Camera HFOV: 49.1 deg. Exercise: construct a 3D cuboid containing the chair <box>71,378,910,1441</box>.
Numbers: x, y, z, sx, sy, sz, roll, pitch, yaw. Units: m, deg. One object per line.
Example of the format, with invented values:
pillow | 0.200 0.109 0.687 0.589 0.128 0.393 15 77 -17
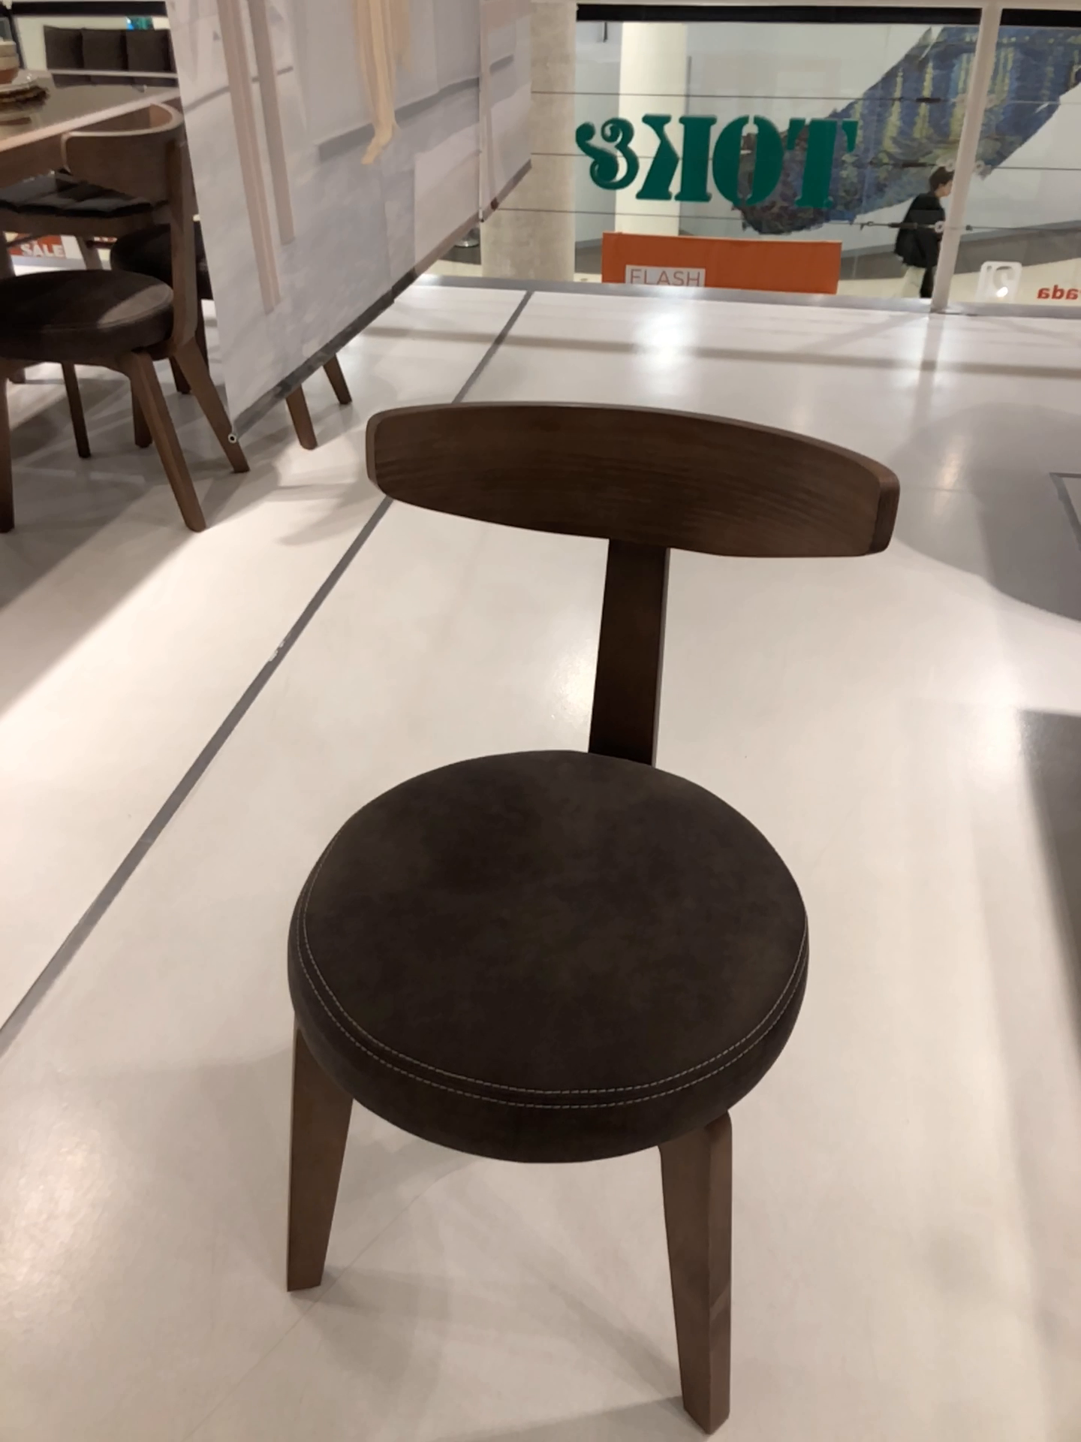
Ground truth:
chair | 0.016 0.143 1.050 0.470 0.705 0.494 9 35 14
